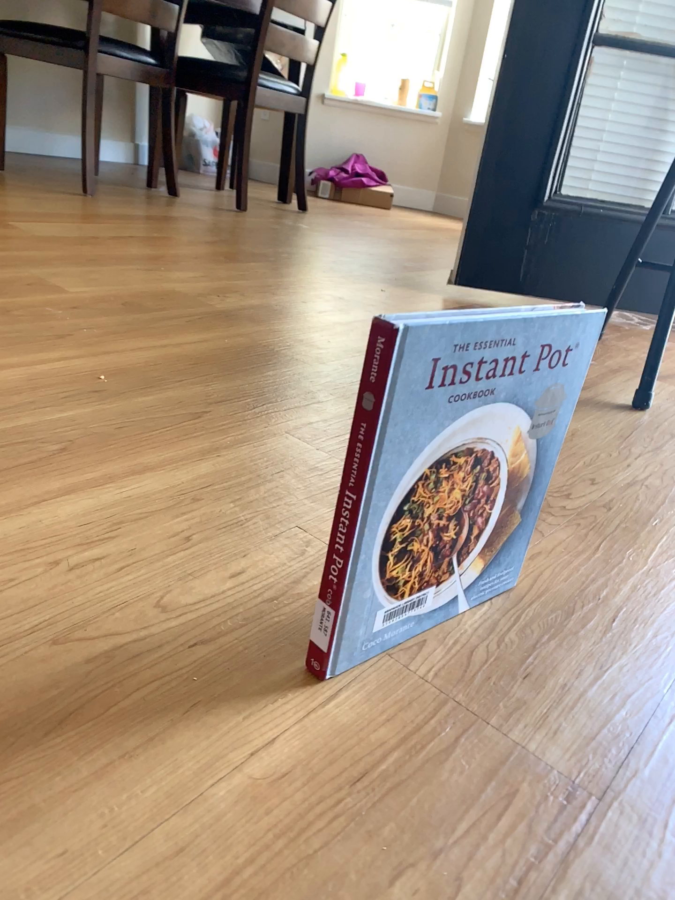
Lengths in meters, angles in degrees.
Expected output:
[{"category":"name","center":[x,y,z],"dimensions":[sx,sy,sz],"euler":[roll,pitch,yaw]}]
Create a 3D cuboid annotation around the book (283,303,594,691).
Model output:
[{"category":"book","center":[0.075,0.022,0.485],"dimensions":[0.231,0.239,0.030],"euler":[-12,30,-41]}]
